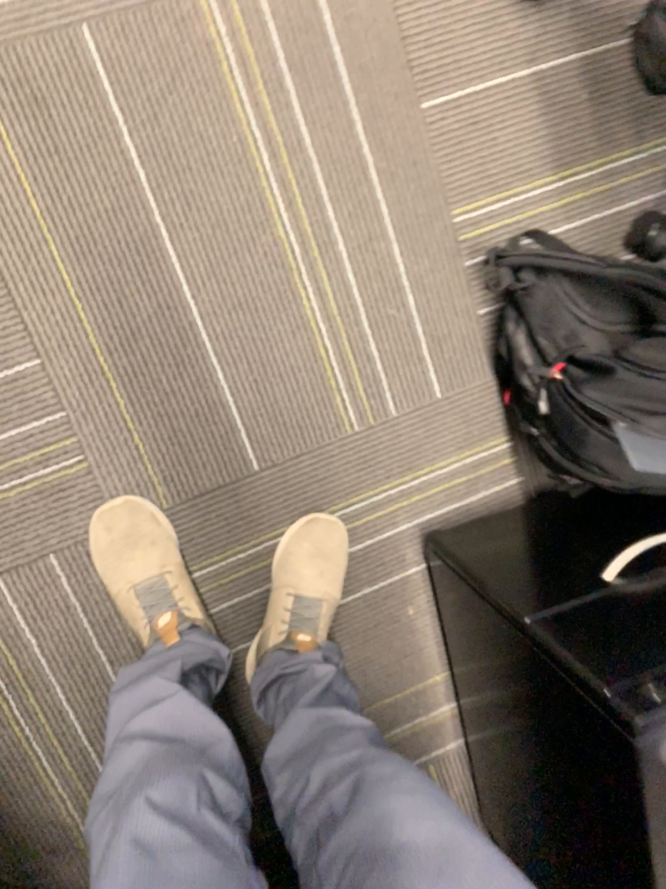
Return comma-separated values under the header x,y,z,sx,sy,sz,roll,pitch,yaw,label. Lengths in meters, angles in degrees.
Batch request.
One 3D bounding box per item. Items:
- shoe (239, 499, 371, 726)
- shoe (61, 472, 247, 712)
x,y,z,sx,sy,sz,roll,pitch,yaw,label
-0.046,0.247,1.020,0.107,0.098,0.302,12,98,-16,shoe
-0.249,0.210,0.990,0.126,0.098,0.302,-26,107,-8,shoe
